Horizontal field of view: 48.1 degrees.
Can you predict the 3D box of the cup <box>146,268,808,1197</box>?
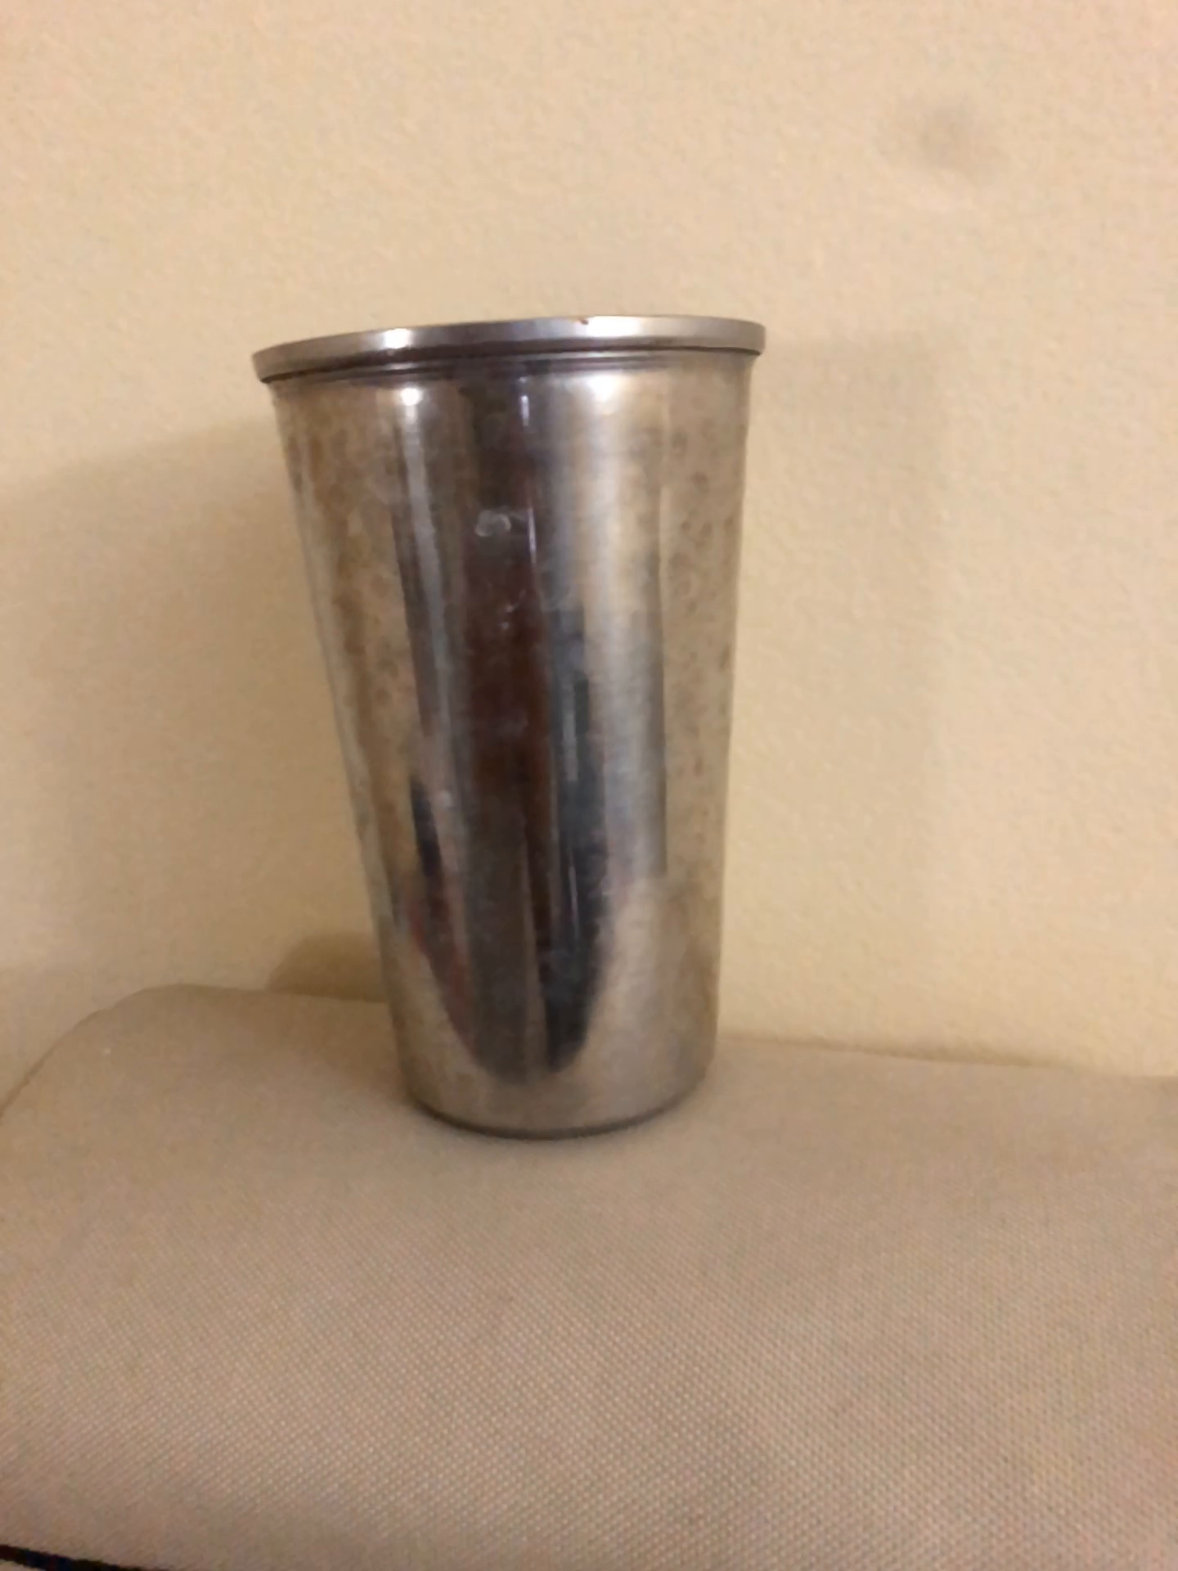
[{"bbox_3d":[-0.010,-0.012,0.204,0.074,0.113,0.073,-1,12,0],"label":"cup"}]
